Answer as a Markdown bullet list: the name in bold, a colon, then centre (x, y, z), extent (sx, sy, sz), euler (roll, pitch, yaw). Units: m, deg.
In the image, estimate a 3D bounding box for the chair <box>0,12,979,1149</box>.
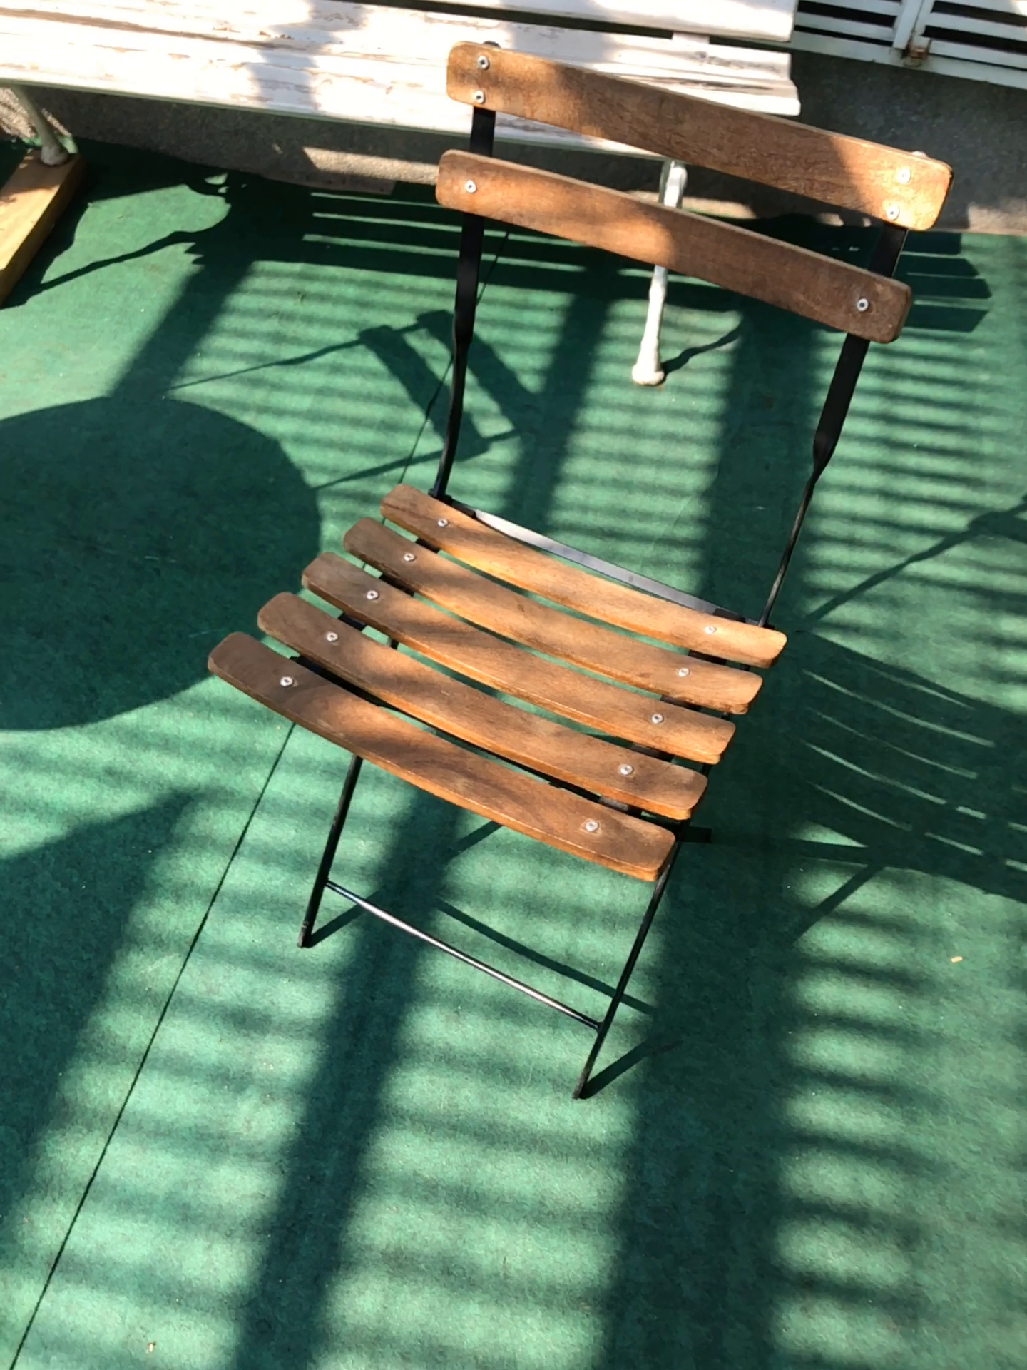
- **chair**: centre (-0.006, -0.045, 0.853), extent (0.390, 0.655, 0.402), euler (24, 51, 17)
